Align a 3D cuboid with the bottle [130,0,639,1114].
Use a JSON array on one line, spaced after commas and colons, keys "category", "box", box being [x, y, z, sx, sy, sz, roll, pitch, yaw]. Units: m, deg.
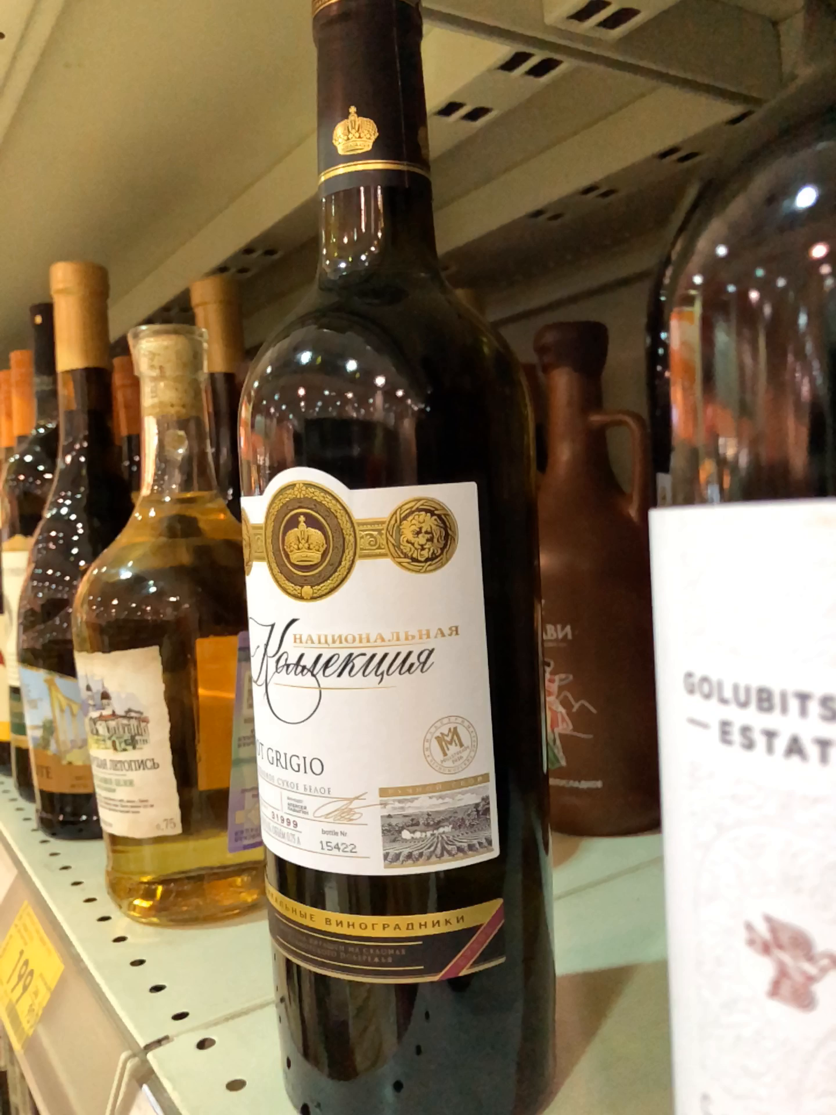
[{"category": "bottle", "box": [-0.005, -0.014, 0.263, 0.090, 0.320, 0.090, -3, 2, 0]}]
